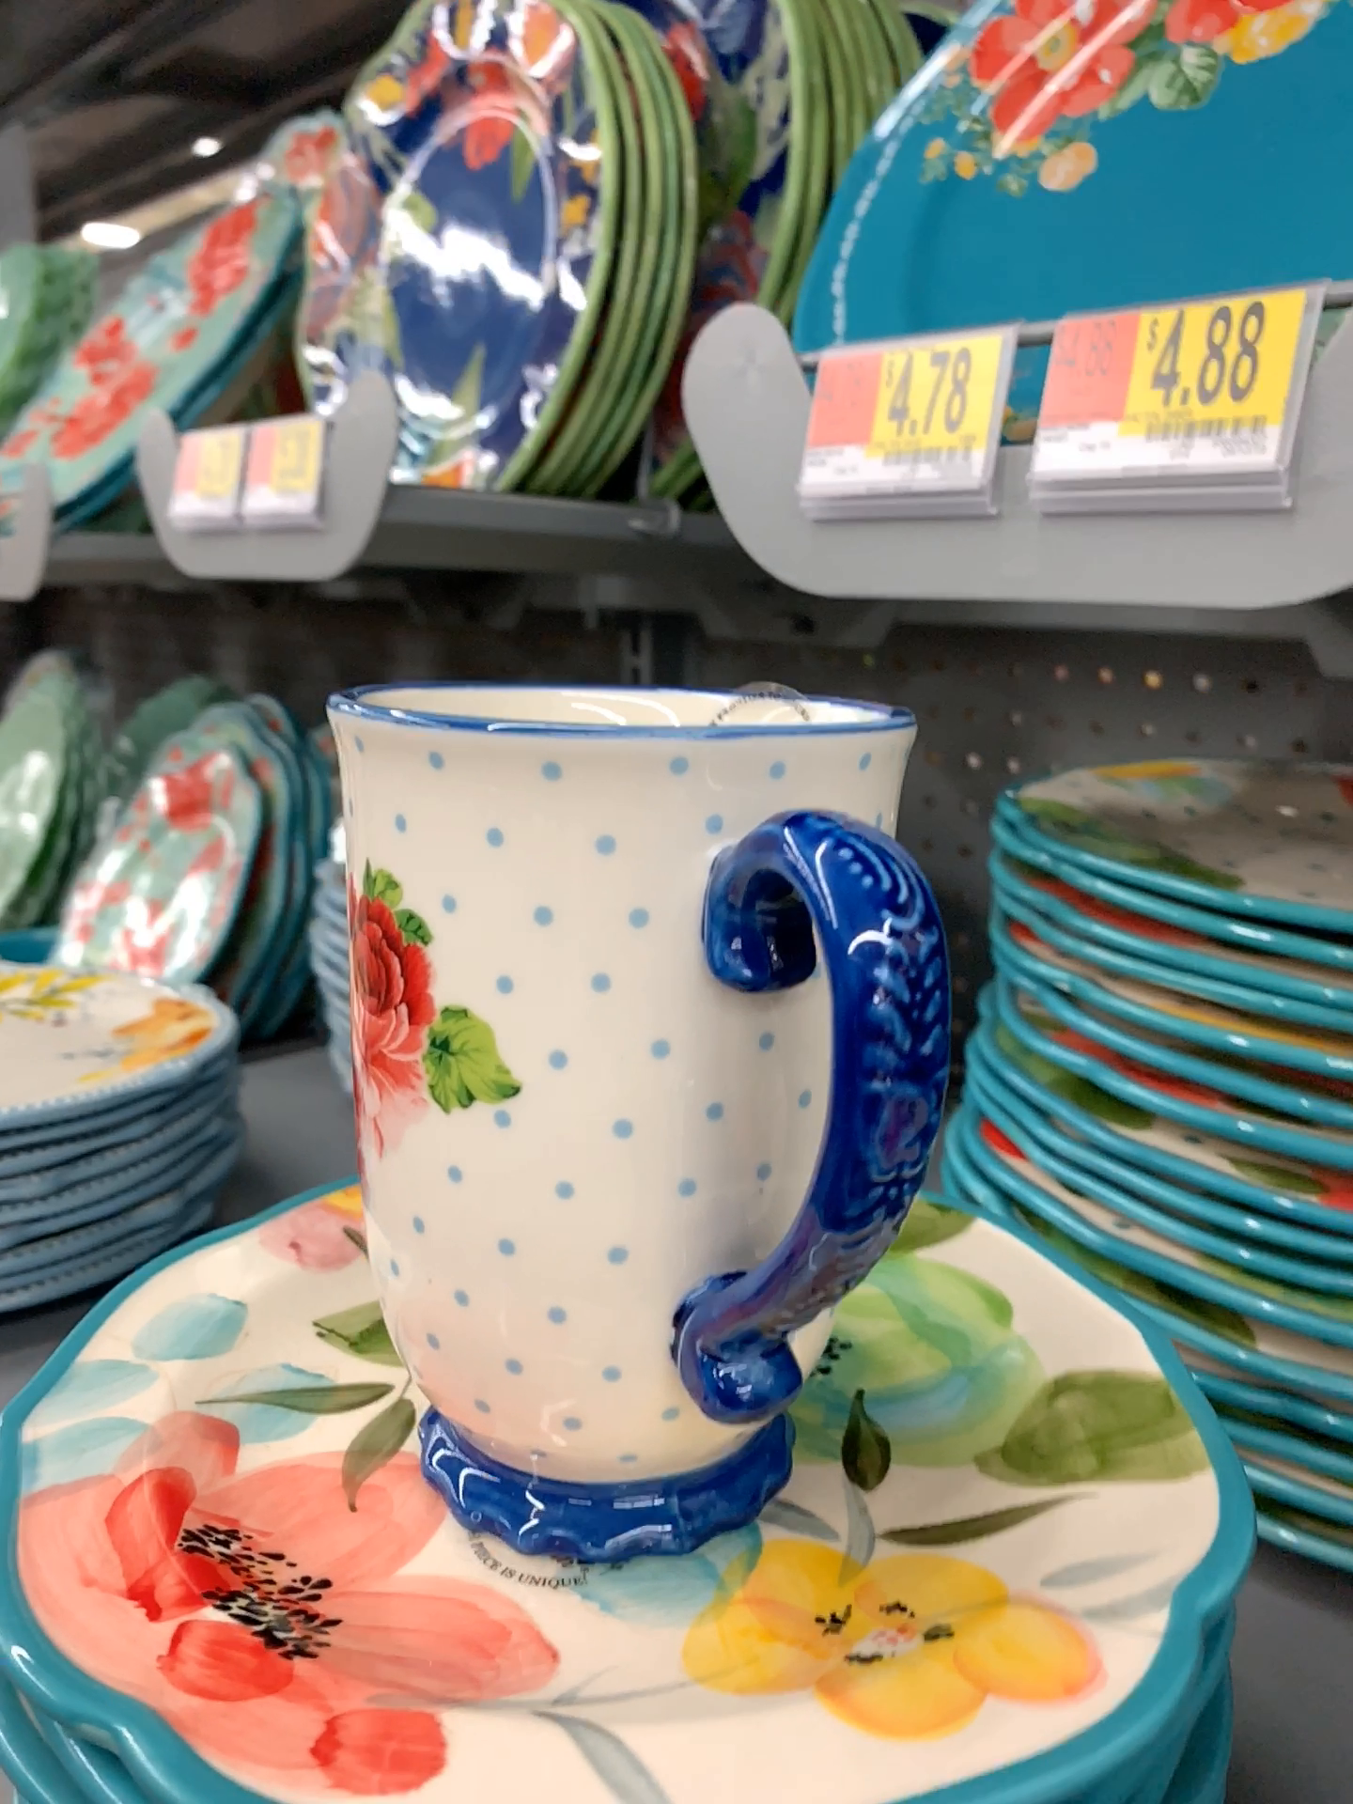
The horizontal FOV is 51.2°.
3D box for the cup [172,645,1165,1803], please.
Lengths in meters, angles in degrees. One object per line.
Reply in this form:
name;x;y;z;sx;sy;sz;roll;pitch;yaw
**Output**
cup;-0.013;0.030;0.218;0.090;0.130;0.130;-7;15;-31
